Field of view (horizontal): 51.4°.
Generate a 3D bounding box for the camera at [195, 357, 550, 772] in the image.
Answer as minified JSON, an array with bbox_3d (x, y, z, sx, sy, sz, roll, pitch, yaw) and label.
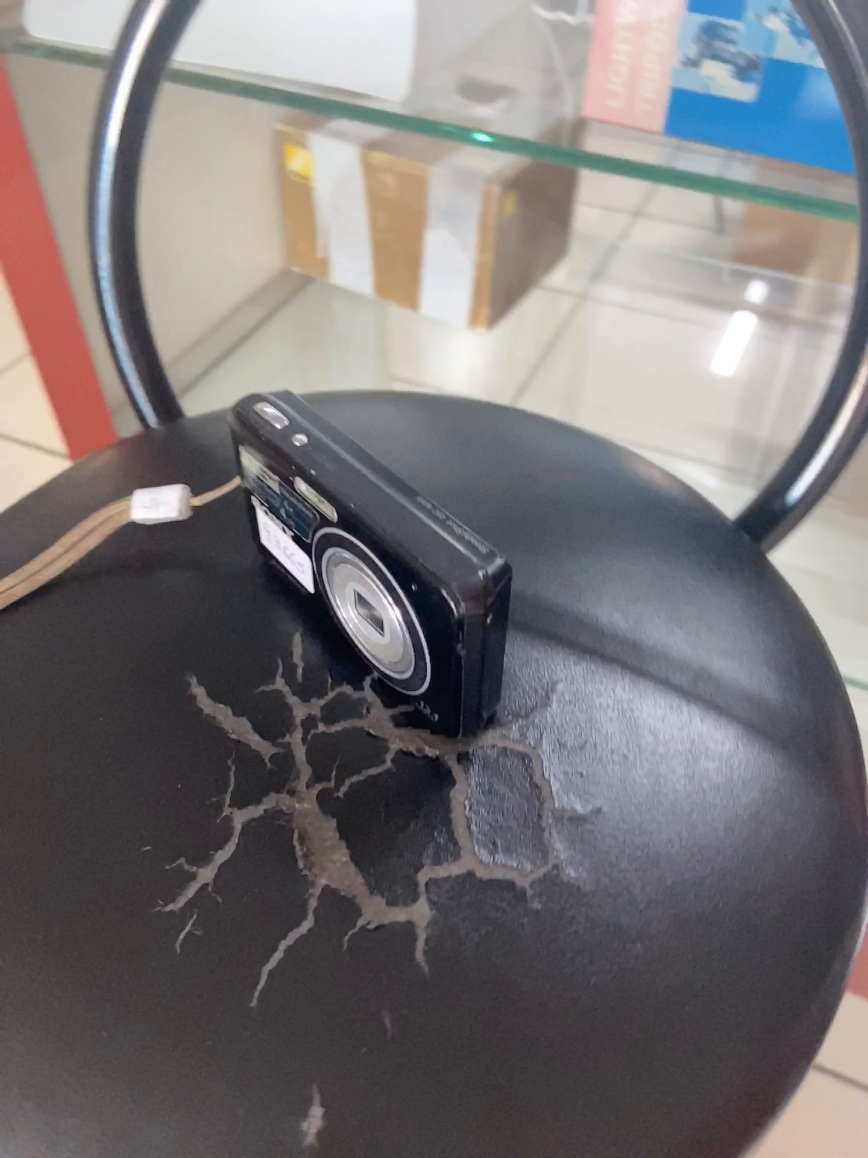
[{"bbox_3d":[-0.019,-0.007,0.227,0.020,0.050,0.110,-30,53,-27],"label":"camera"}]
